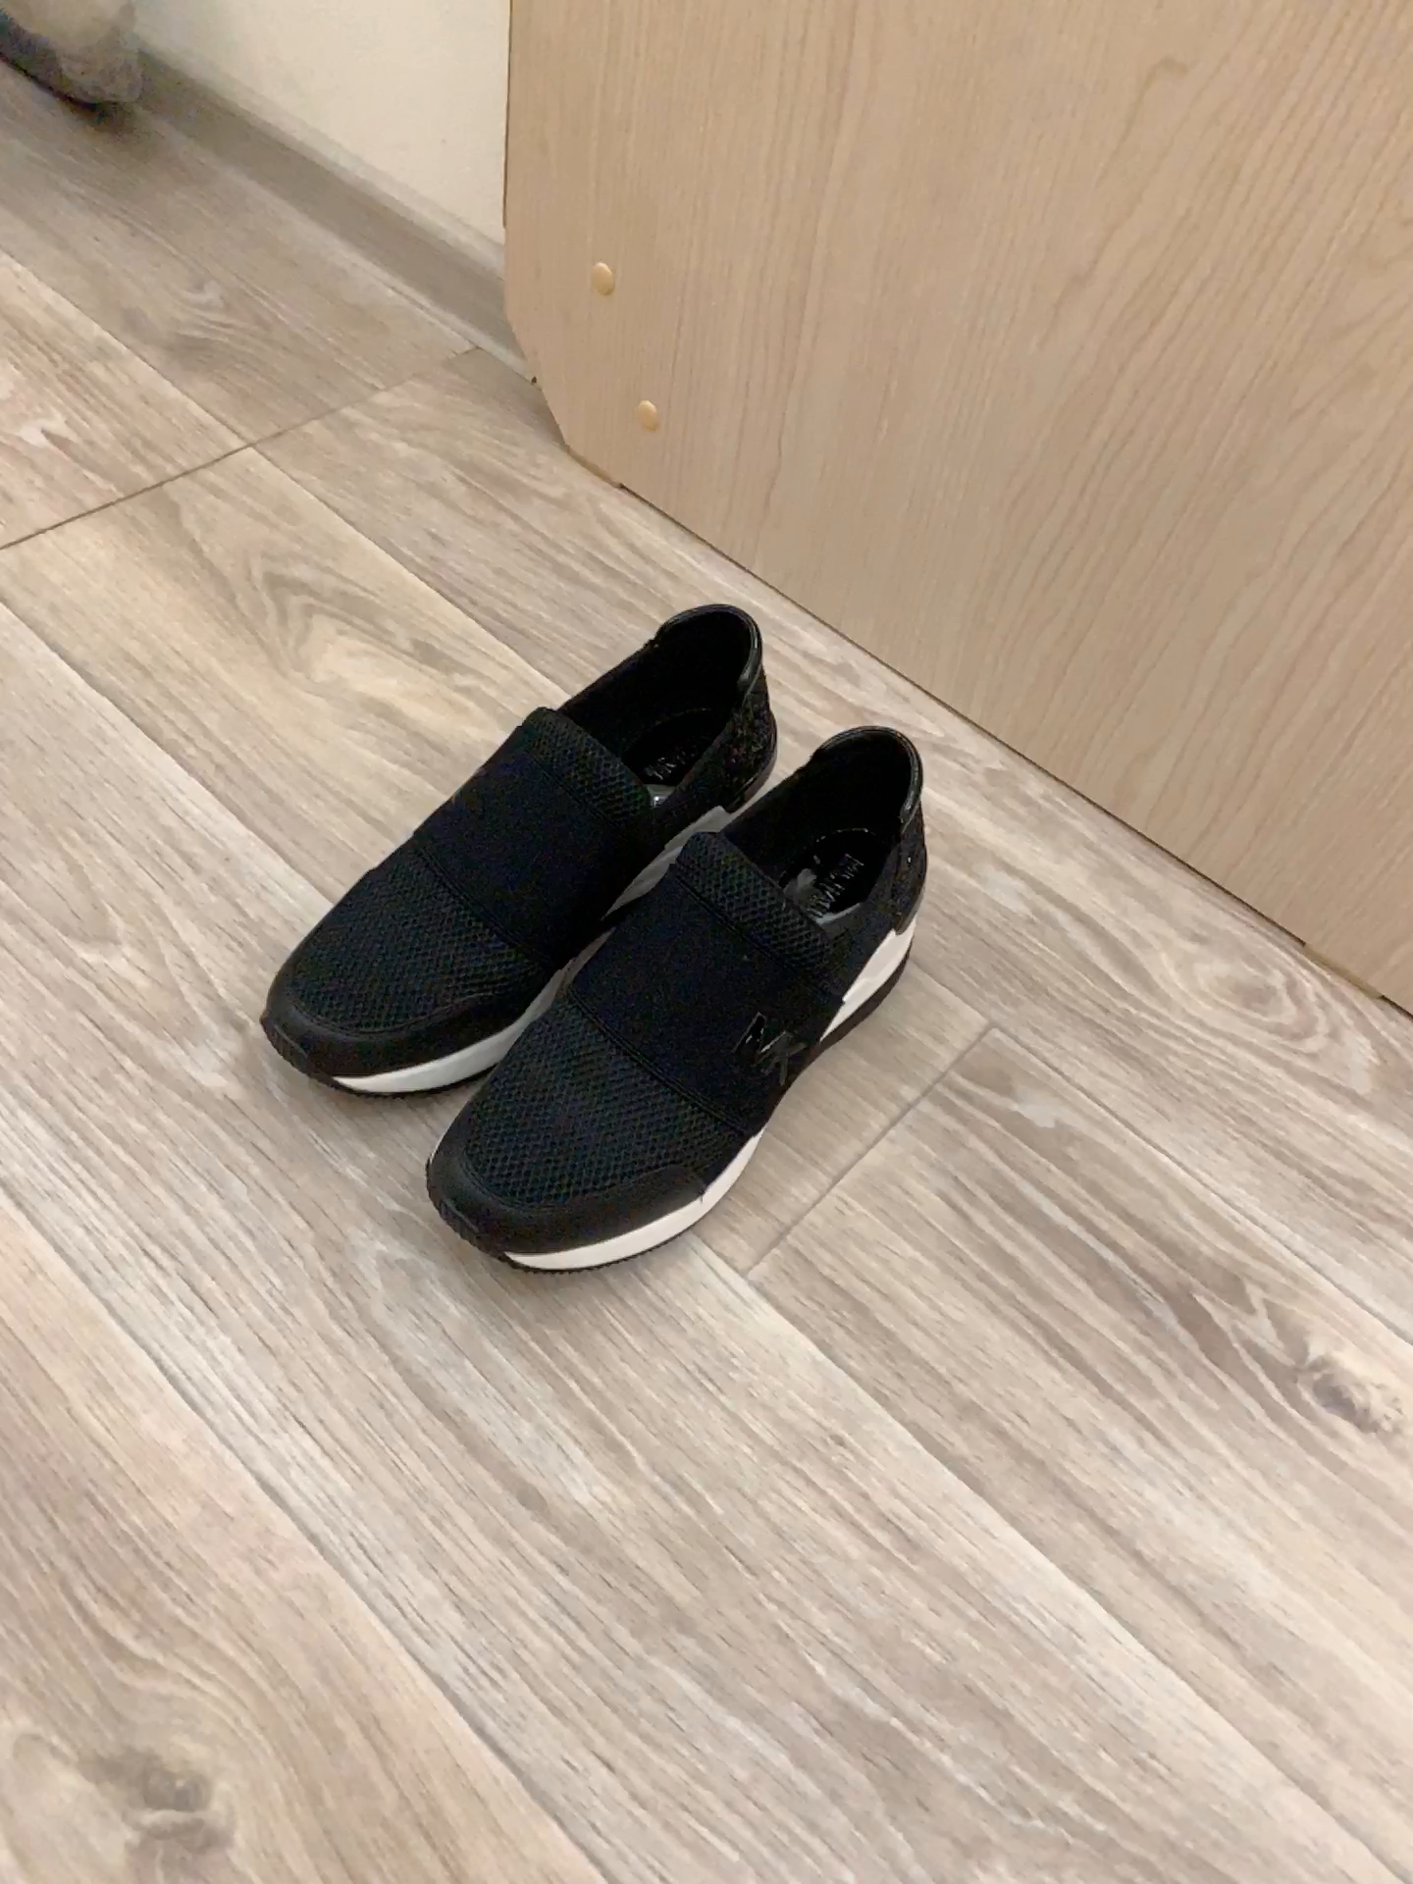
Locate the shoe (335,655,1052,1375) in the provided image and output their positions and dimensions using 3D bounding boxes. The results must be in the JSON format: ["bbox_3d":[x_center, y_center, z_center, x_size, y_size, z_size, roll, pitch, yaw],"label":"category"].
[{"bbox_3d":[0.000,0.018,0.547,0.098,0.119,0.261,39,57,20],"label":"shoe"}]

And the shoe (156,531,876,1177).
[{"bbox_3d":[-0.066,-0.043,0.580,0.261,0.119,0.098,-35,65,-30],"label":"shoe"}]
